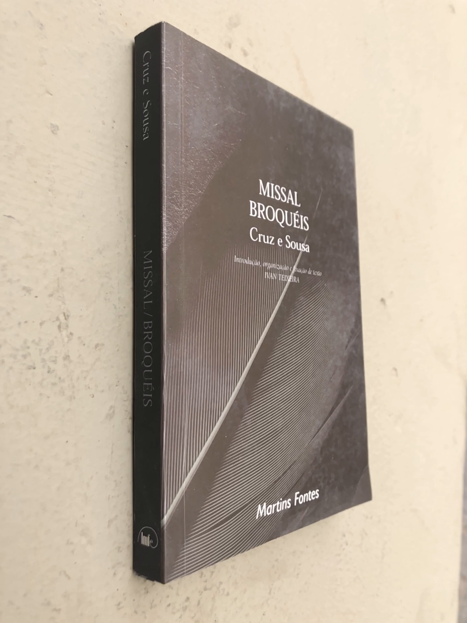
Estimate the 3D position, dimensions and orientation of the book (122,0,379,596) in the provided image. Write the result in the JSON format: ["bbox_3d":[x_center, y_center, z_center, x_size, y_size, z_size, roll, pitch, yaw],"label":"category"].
[{"bbox_3d":[0.015,-0.004,0.204,0.129,0.016,0.173,4,83,-47],"label":"book"}]
